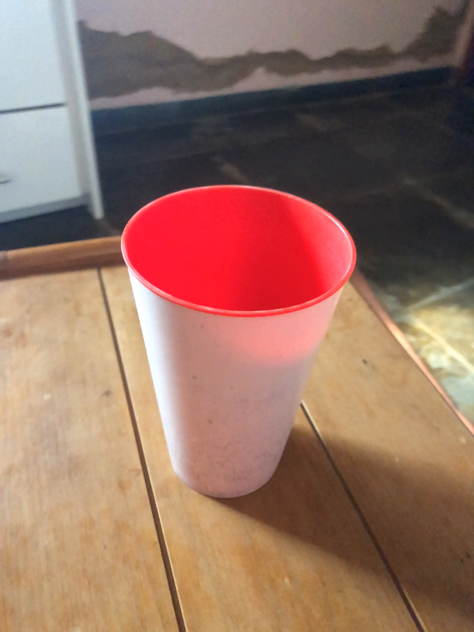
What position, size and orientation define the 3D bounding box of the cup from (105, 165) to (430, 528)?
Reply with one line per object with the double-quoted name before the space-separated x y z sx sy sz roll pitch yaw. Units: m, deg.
"cup" 0.004 0.011 0.246 0.100 0.119 0.090 -12 42 -18
